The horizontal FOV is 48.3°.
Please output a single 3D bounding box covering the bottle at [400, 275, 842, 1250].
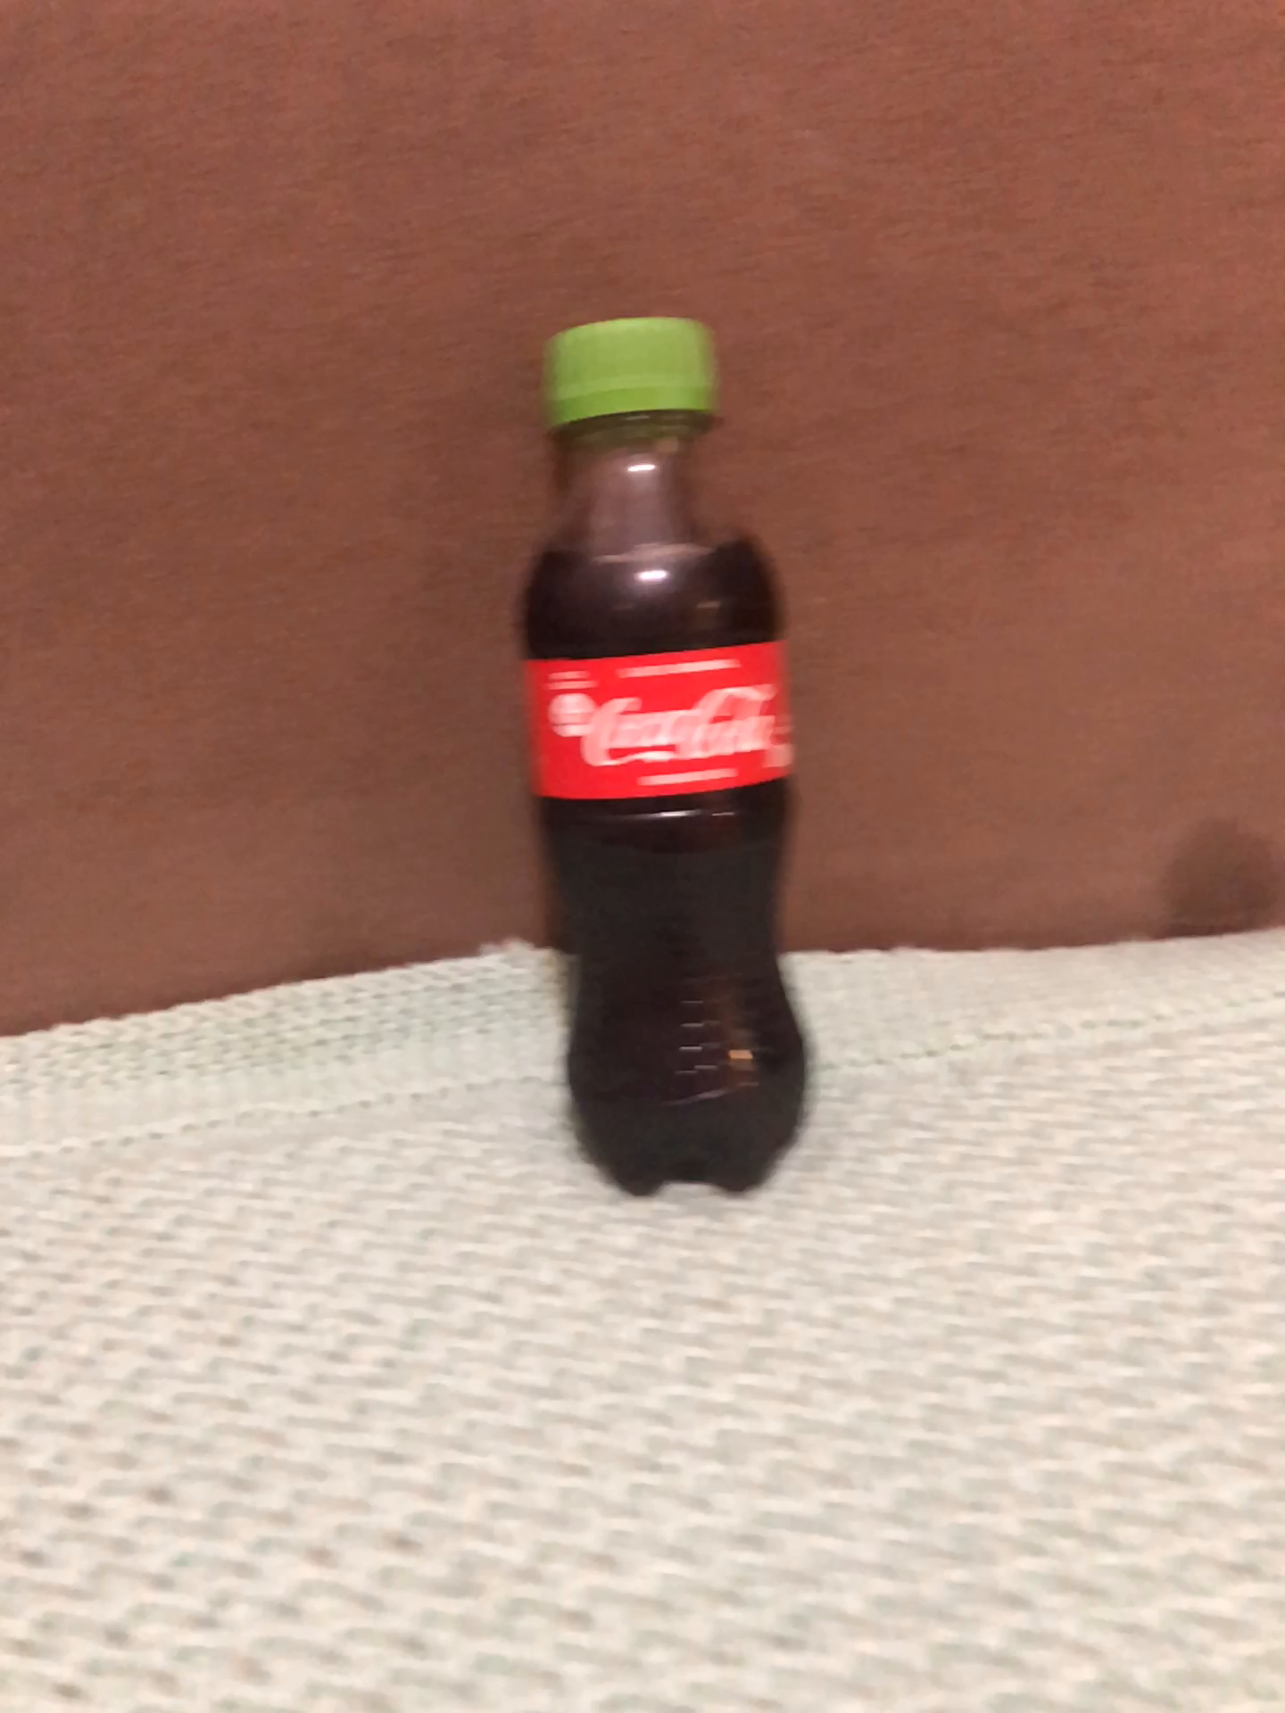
[{"bbox_3d":[-0.005,-0.020,0.285,0.060,0.169,0.060,-4,11,1],"label":"bottle"}]
